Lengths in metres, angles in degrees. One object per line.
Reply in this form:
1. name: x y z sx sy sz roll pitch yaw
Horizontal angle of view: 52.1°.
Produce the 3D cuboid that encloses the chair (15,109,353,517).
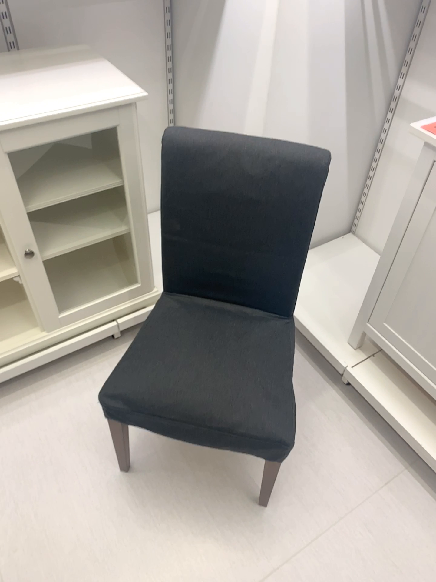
1. chair: -0.019 0.084 1.207 0.540 0.837 0.612 11 46 7
